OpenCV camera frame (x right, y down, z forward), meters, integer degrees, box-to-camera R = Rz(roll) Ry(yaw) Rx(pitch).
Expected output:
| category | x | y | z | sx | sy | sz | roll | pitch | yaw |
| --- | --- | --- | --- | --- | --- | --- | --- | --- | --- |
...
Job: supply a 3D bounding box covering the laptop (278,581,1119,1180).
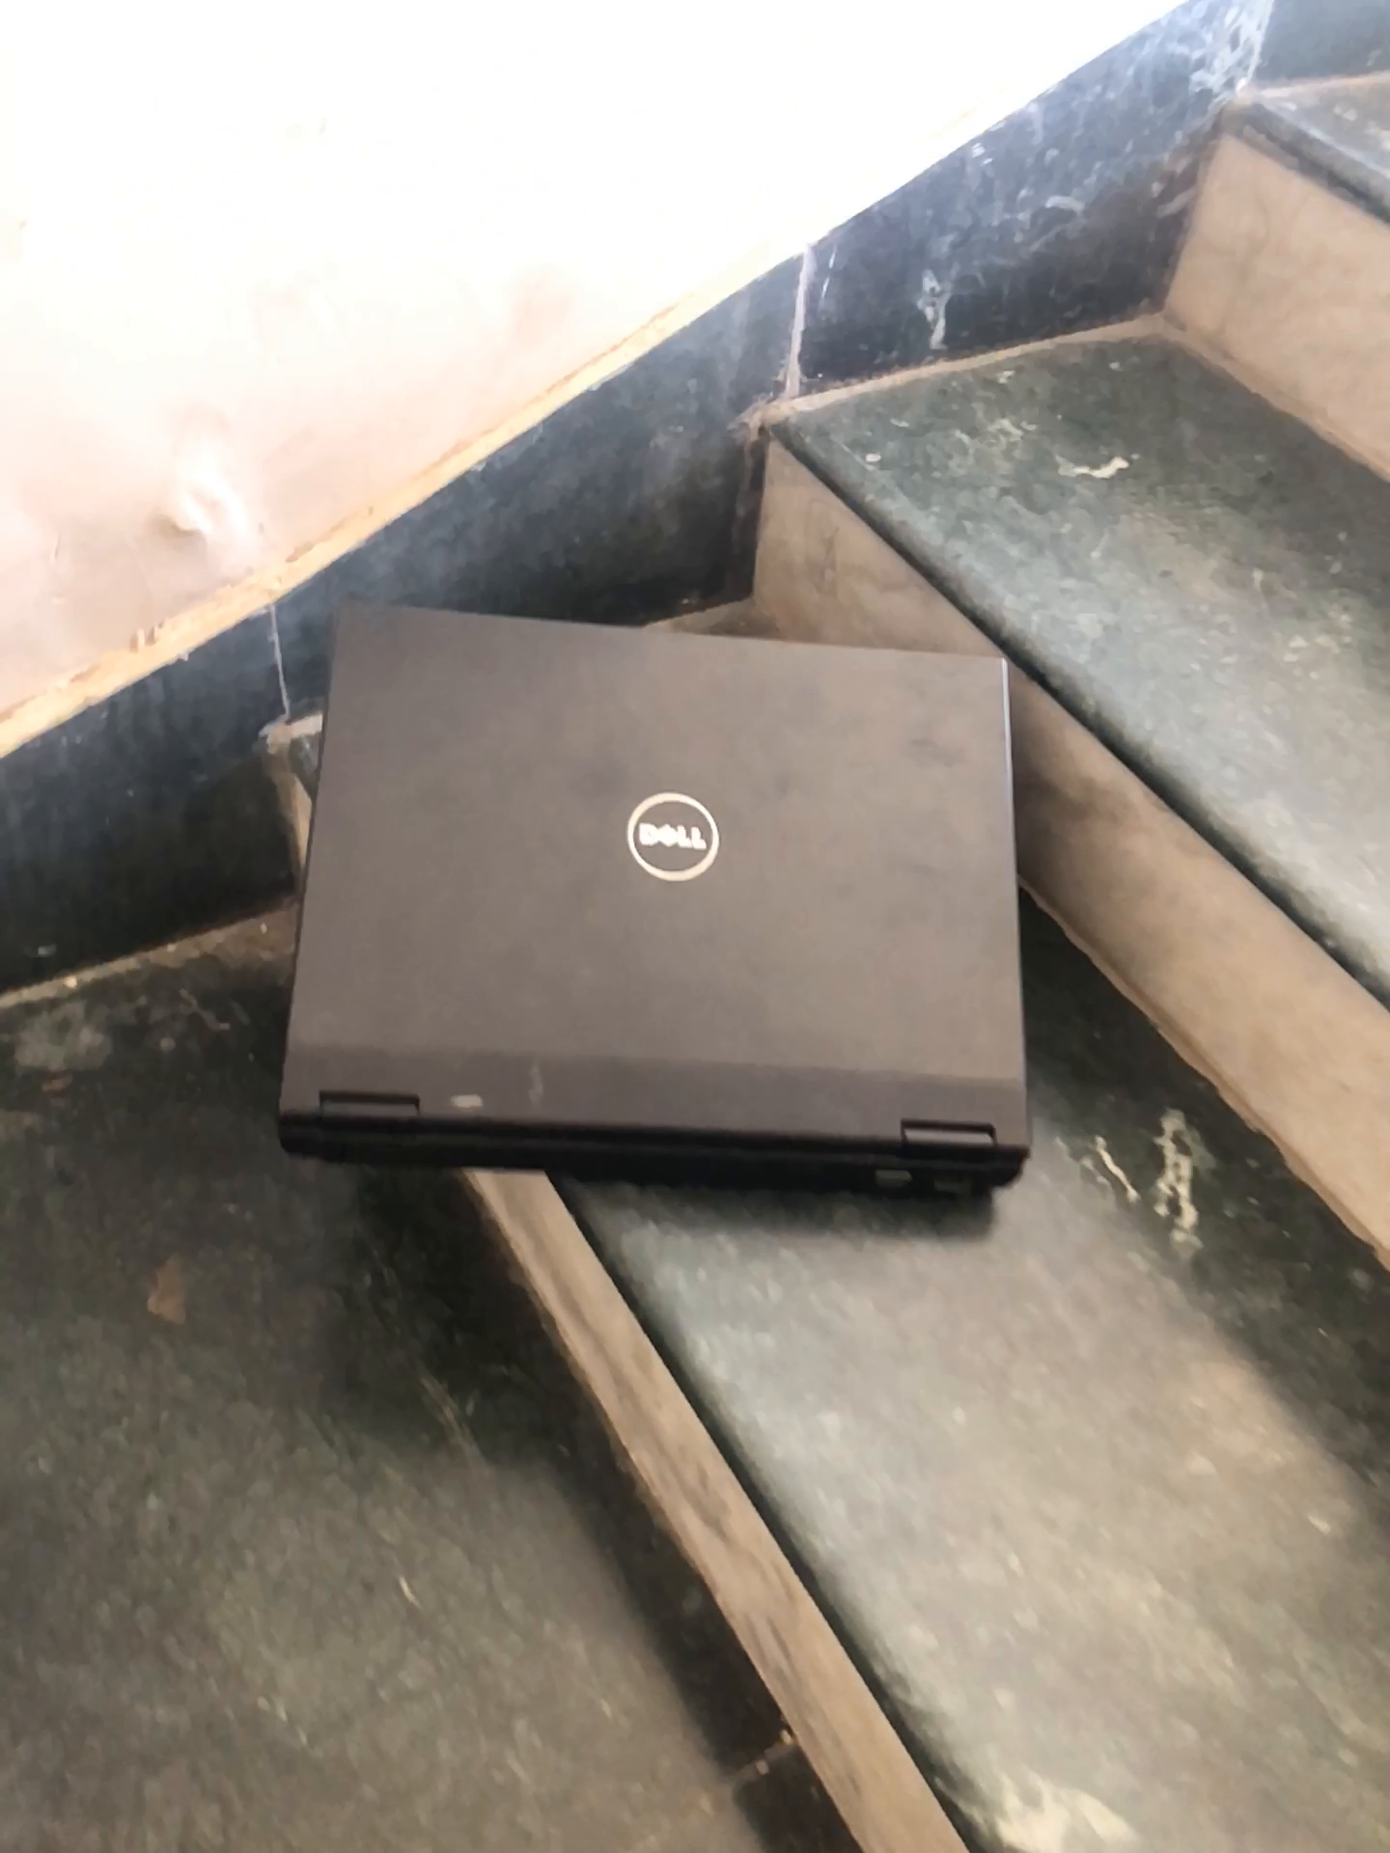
| category | x | y | z | sx | sy | sz | roll | pitch | yaw |
| --- | --- | --- | --- | --- | --- | --- | --- | --- | --- |
| laptop | -0.006 | -0.025 | 0.658 | 0.302 | 0.095 | 0.233 | 4 | 48 | -7 |
